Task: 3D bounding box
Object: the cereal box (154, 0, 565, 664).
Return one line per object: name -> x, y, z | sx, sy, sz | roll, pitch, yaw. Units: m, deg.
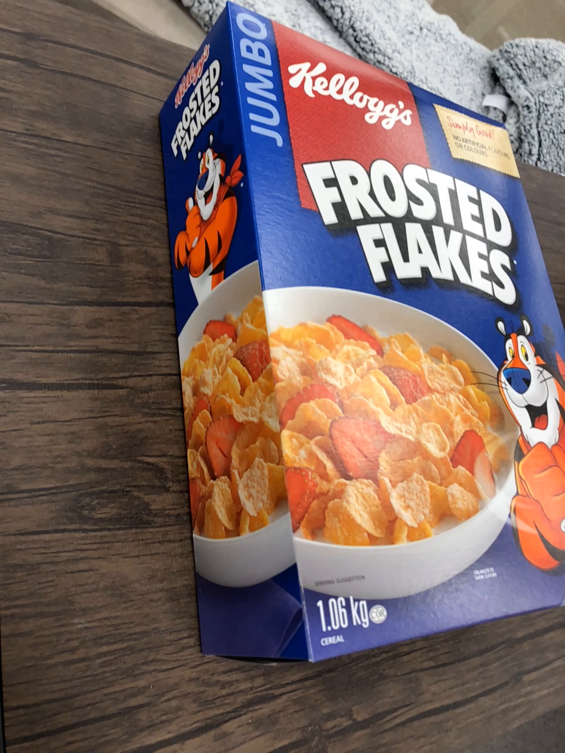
cereal box -> 0.067, -0.042, 0.396 | 0.251, 0.100, 0.370 | 5, 67, -33
